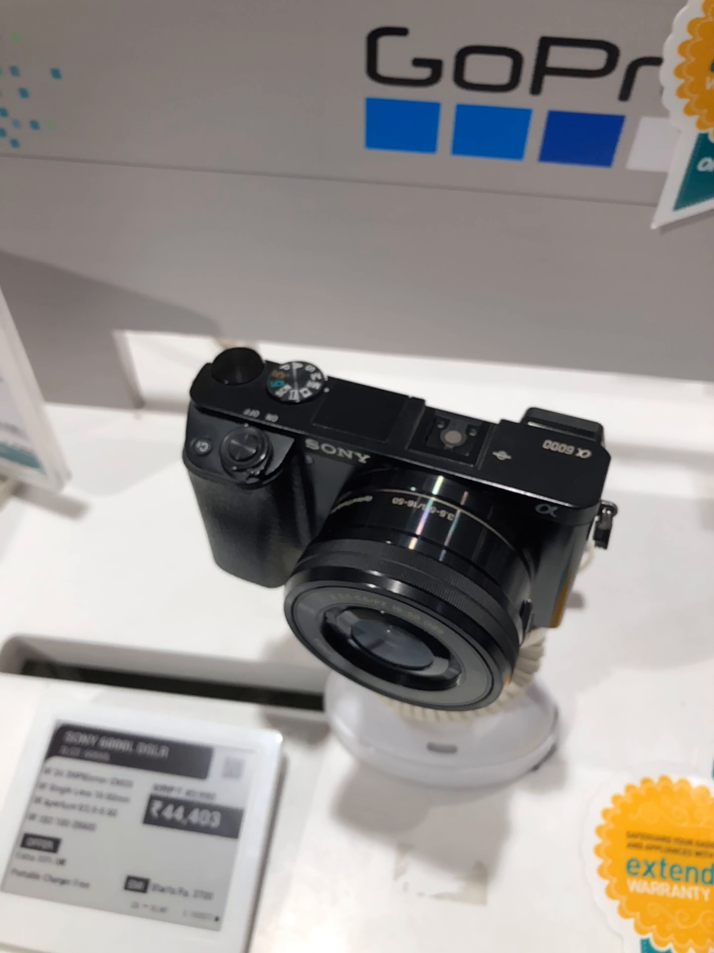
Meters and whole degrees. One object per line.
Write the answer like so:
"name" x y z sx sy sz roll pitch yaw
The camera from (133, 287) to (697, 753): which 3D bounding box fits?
"camera" 0.015 0.010 0.203 0.110 0.070 0.060 16 53 12
